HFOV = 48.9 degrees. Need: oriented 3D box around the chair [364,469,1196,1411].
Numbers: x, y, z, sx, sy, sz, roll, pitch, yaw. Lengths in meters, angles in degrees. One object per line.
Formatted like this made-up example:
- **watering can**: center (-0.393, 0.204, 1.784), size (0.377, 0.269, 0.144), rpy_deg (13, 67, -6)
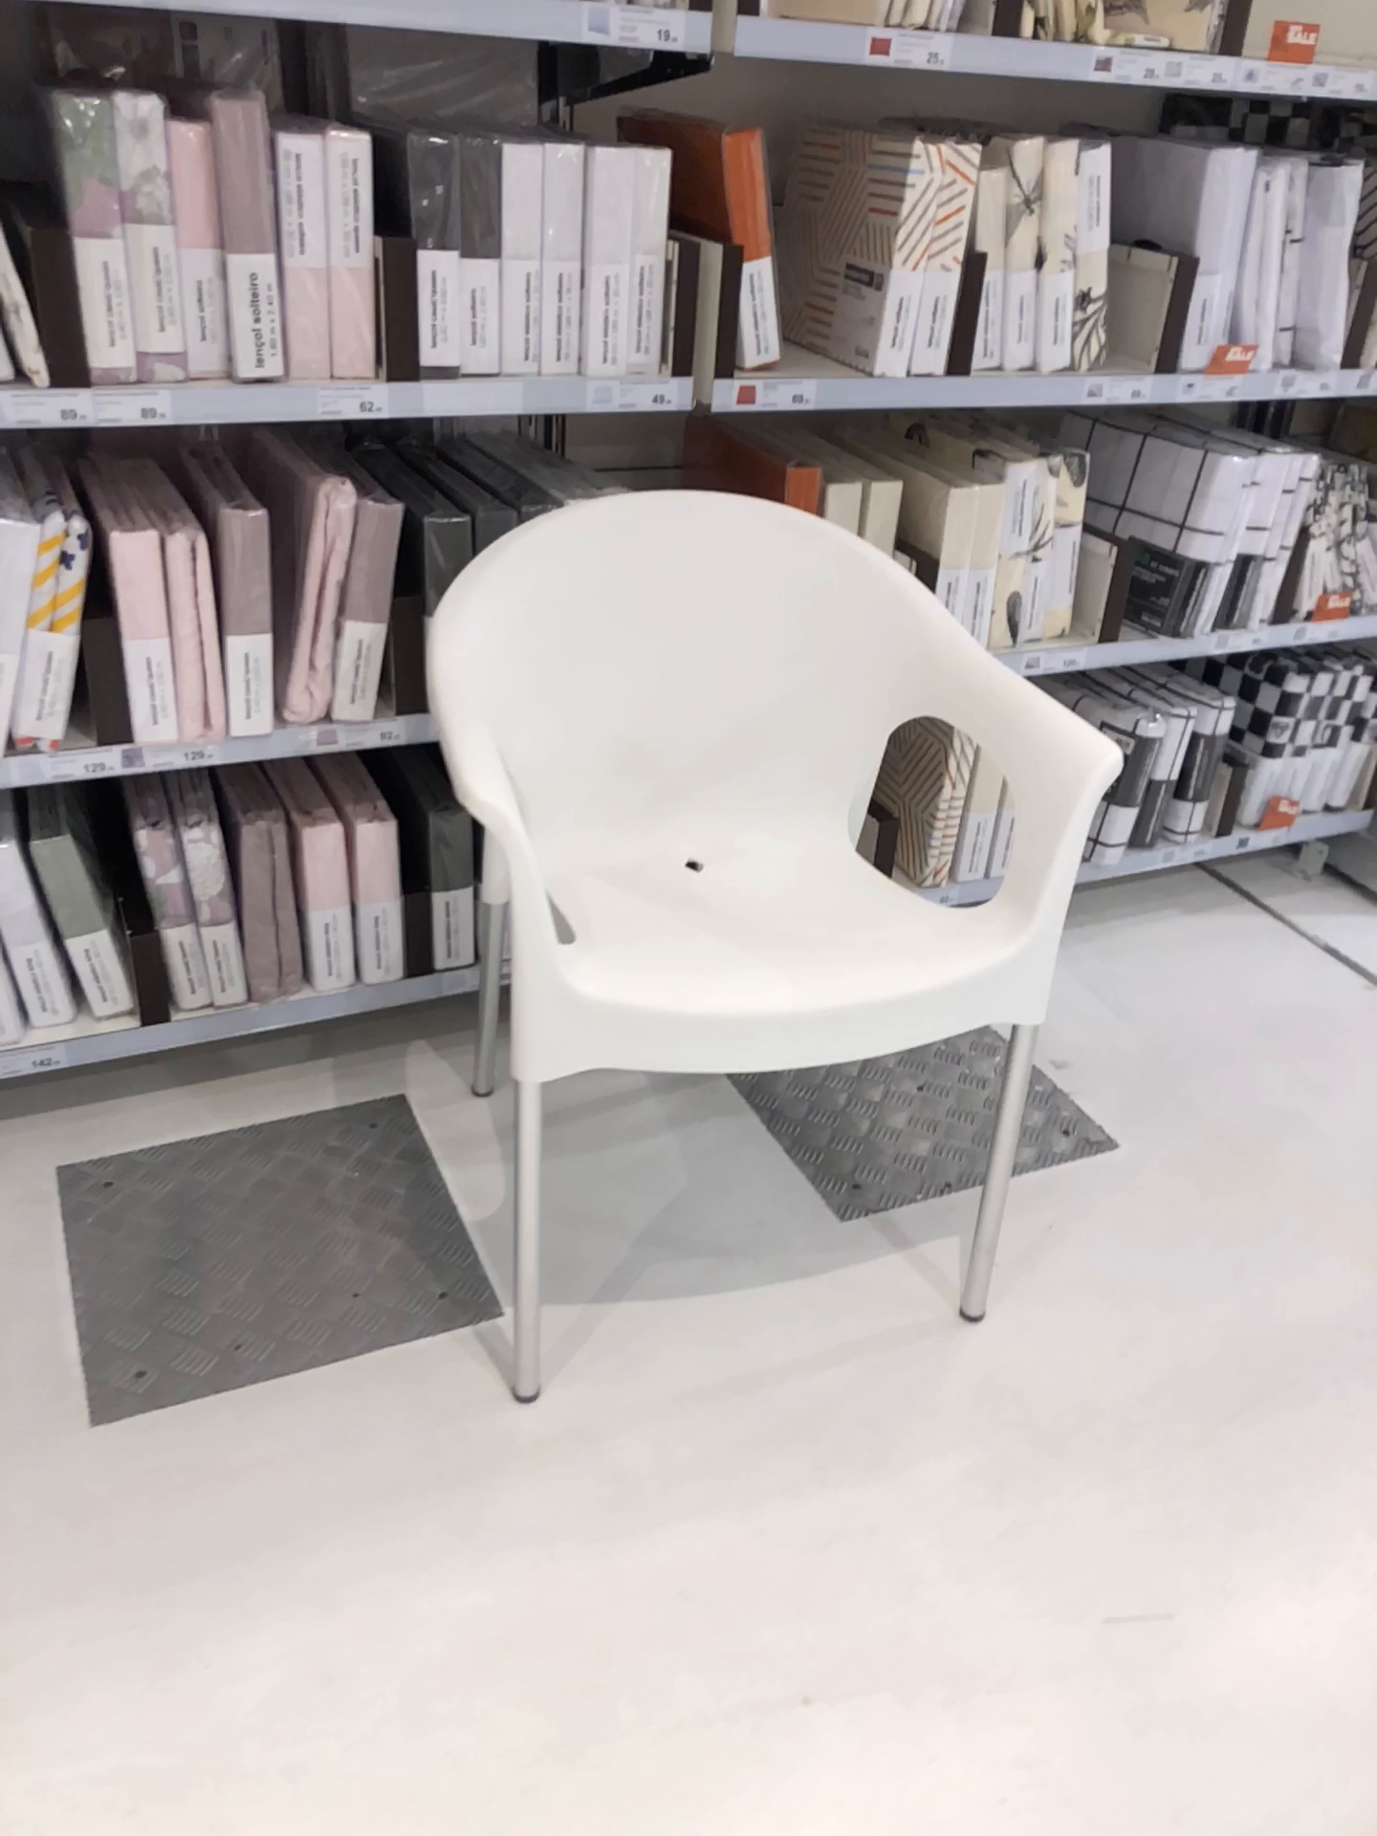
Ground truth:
- **chair**: center (0.019, -0.022, 1.514), size (0.591, 0.705, 0.554), rpy_deg (-5, 31, -16)
